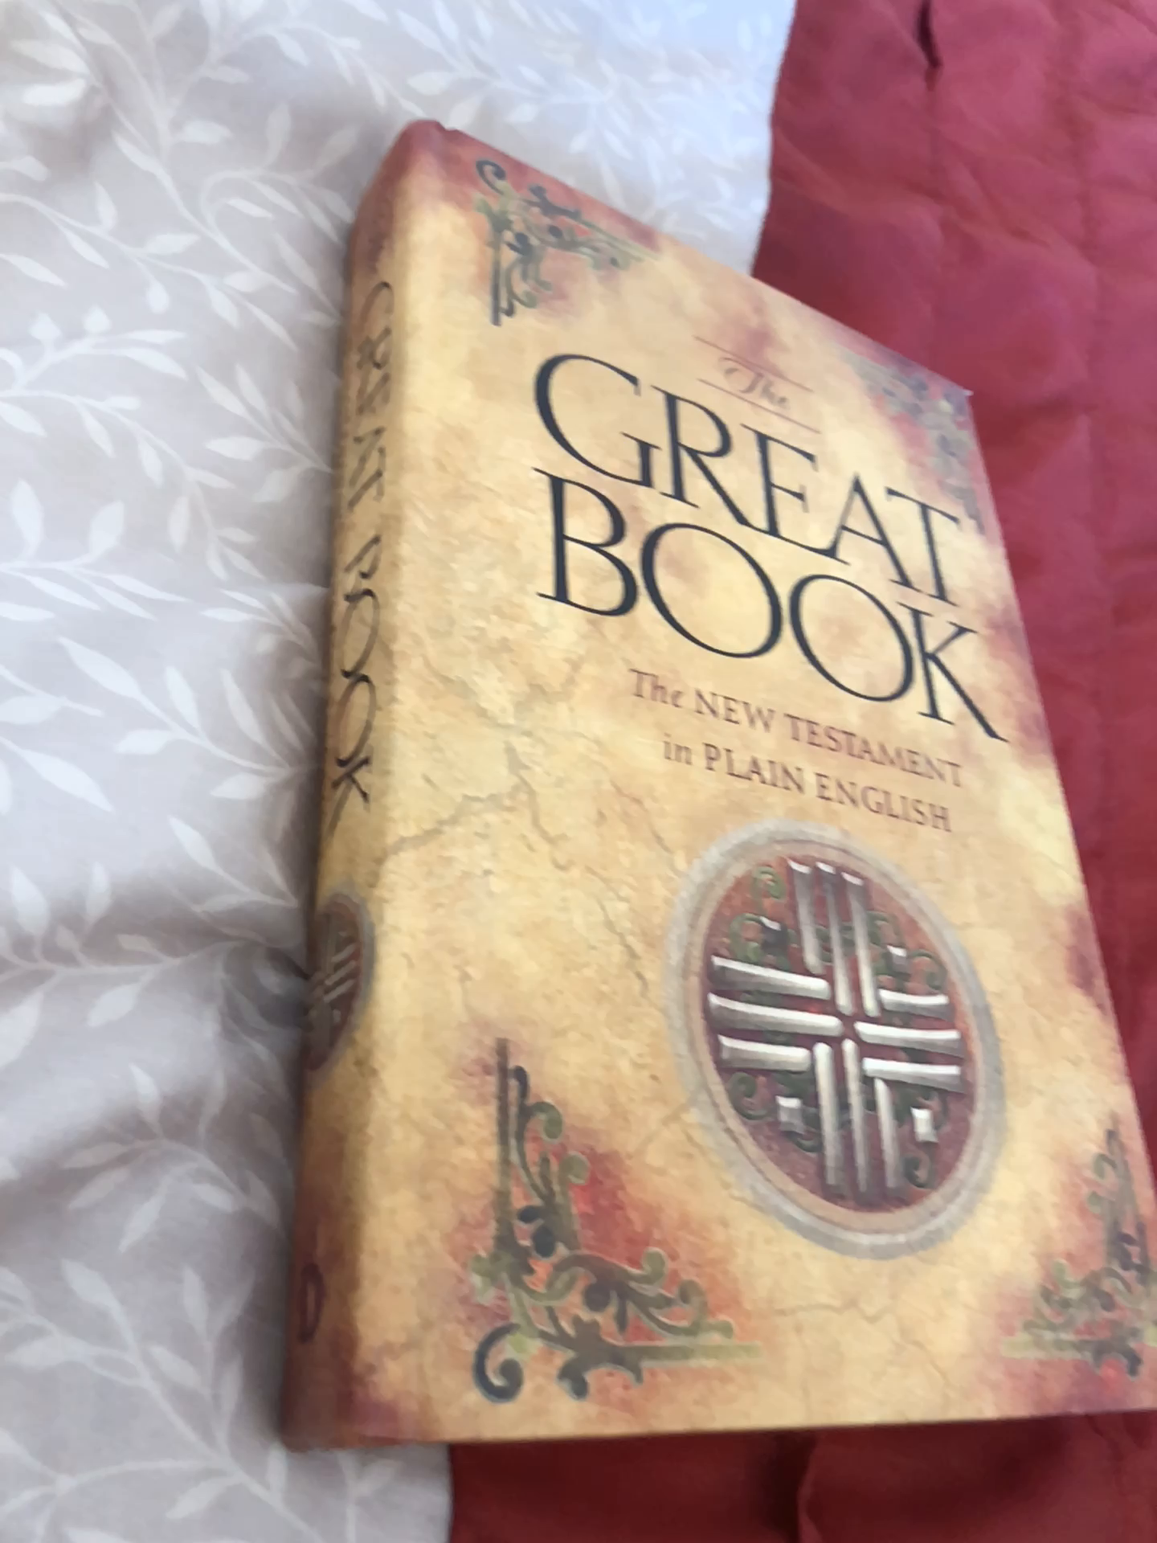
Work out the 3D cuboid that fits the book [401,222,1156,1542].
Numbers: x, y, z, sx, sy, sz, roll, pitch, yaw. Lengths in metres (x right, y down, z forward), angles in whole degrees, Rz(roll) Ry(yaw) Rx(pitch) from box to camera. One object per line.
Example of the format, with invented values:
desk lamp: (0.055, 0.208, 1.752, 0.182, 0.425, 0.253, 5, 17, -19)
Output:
book: (0.054, 0.024, 0.237, 0.161, 0.040, 0.221, 14, 60, -28)
